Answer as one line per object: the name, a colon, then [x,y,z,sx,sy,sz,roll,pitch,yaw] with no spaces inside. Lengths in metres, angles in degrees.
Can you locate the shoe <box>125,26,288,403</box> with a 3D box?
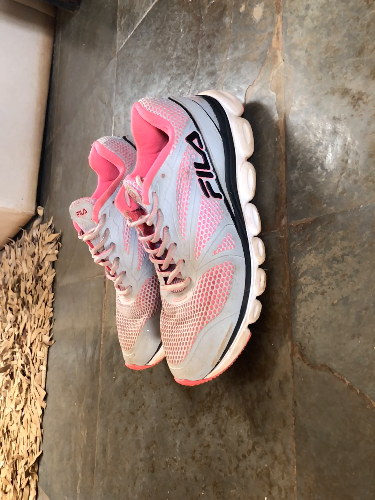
shoe: [0.015,-0.027,0.386,0.110,0.100,0.290,-9,78,57]

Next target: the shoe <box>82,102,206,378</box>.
shoe: [-0.054,-0.006,0.486,0.110,0.100,0.280,-14,74,56]
